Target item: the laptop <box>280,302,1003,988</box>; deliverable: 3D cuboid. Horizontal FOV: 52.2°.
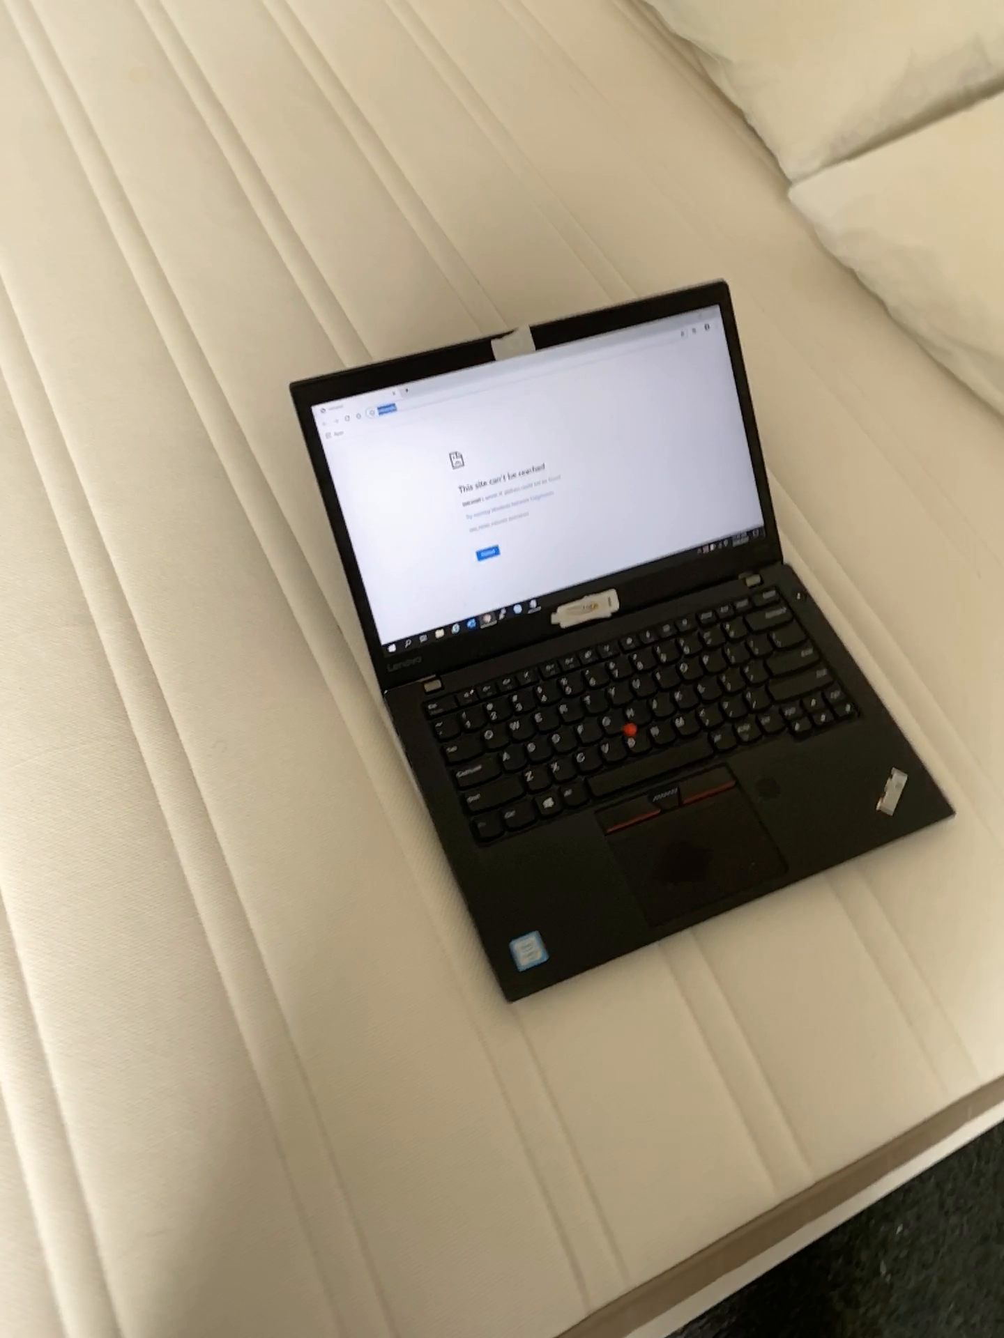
[{"bbox_3d":[0.073,-0.043,0.674,0.320,0.120,0.382,-18,62,-17],"label":"laptop"}]
